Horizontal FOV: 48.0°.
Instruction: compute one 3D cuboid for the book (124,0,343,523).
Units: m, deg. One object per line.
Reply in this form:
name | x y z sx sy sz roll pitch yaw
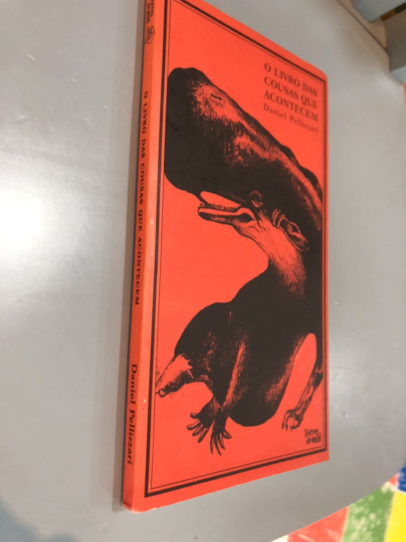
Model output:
book | 0.022 -0.011 0.203 0.111 0.016 0.200 6 83 -38
